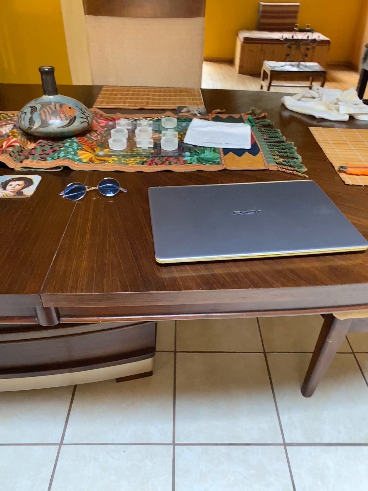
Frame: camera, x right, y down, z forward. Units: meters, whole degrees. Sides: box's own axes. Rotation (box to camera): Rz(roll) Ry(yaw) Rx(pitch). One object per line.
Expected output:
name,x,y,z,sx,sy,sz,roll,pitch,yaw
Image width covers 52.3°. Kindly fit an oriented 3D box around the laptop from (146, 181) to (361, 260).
laptop,0.120,-0.064,0.759,0.383,0.001,0.247,-4,37,-8
